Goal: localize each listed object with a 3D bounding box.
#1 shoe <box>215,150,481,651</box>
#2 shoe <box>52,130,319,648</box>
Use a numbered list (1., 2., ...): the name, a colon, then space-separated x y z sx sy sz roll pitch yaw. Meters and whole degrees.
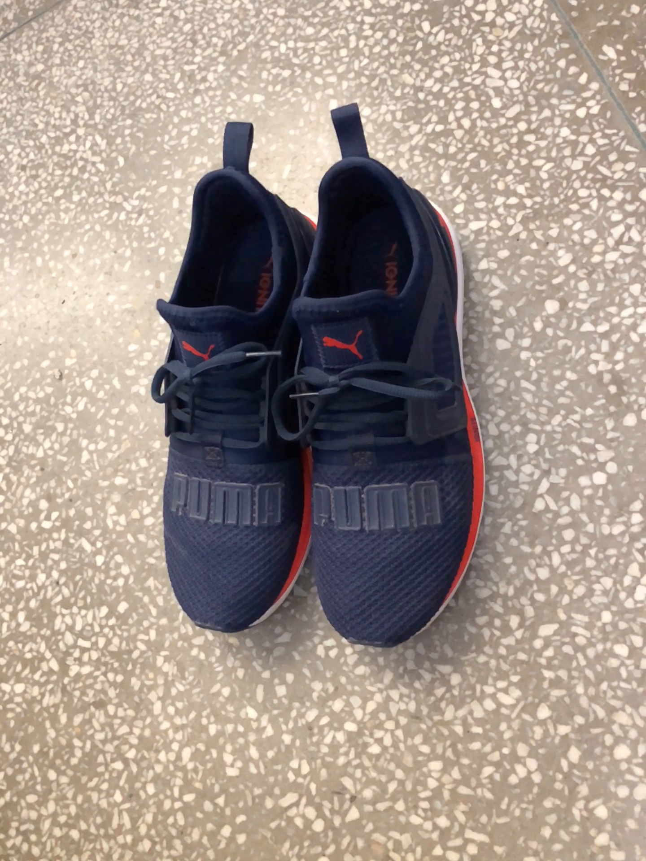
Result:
1. shoe: 0.023 -0.006 0.390 0.100 0.120 0.230 -3 76 22
2. shoe: -0.069 -0.019 0.420 0.100 0.100 0.270 -2 77 17
